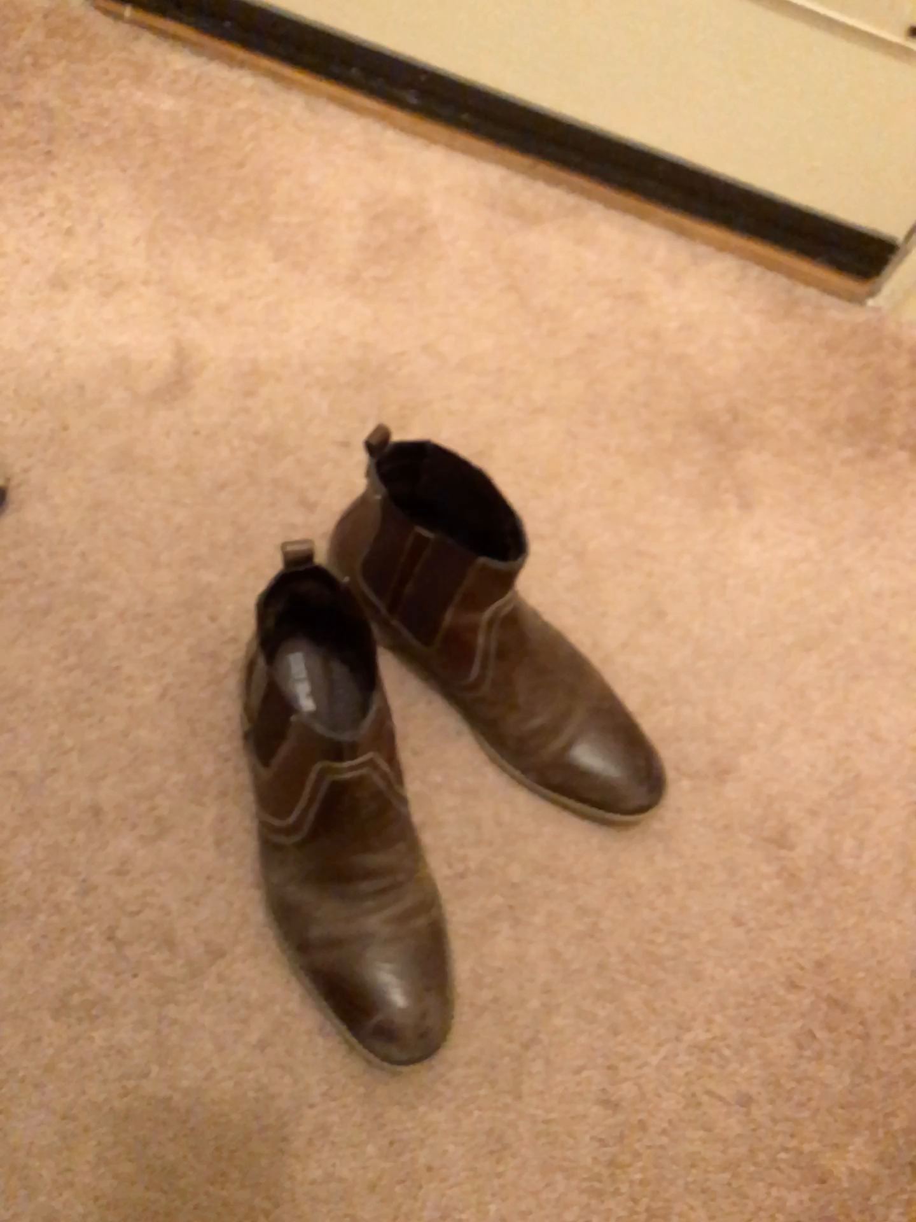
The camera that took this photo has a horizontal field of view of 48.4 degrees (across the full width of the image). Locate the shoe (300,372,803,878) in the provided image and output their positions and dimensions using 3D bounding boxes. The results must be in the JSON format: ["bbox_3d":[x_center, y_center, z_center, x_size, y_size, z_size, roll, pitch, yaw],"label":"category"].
[{"bbox_3d":[0.046,0.015,0.682,0.298,0.158,0.119,43,64,9],"label":"shoe"}]

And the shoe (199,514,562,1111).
[{"bbox_3d":[-0.063,0.118,0.609,0.119,0.158,0.298,-11,69,-17],"label":"shoe"}]
